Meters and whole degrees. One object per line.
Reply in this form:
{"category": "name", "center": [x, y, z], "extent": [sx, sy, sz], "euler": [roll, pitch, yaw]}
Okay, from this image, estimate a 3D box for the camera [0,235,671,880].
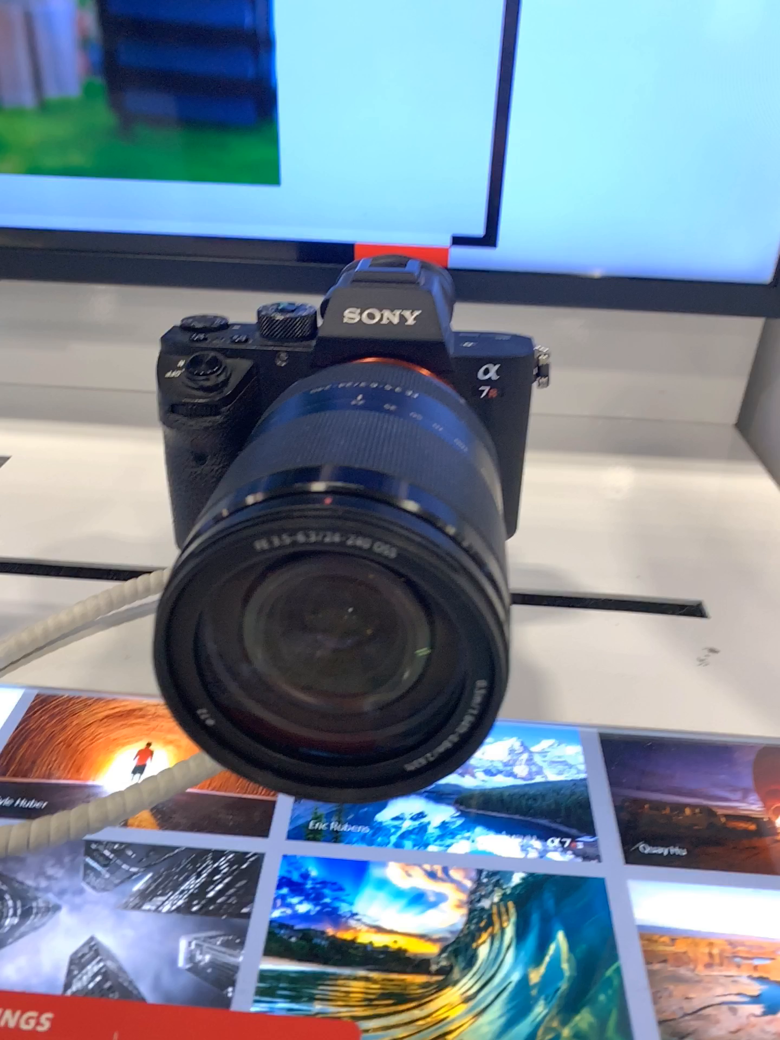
{"category": "camera", "center": [-0.017, -0.009, 0.231], "extent": [0.130, 0.100, 0.173], "euler": [2, 31, 2]}
